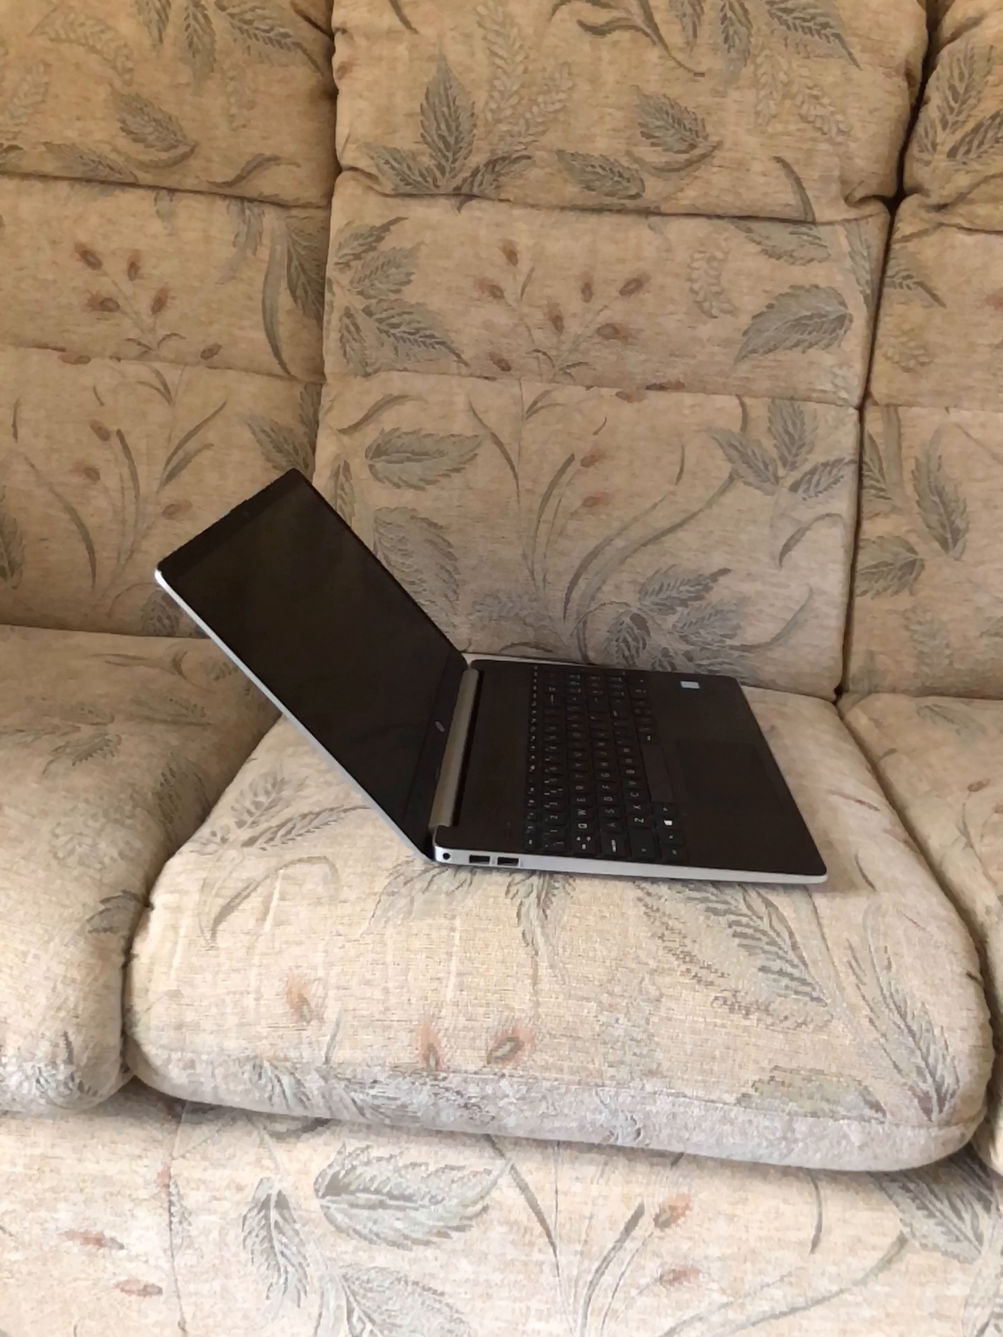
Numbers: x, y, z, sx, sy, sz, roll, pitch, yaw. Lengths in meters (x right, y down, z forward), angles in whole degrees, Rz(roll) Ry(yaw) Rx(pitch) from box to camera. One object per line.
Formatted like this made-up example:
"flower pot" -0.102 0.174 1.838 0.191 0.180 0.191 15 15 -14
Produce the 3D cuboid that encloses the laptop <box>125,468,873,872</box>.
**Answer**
"laptop" 0.006 -0.021 0.782 0.397 0.163 0.340 4 21 1
